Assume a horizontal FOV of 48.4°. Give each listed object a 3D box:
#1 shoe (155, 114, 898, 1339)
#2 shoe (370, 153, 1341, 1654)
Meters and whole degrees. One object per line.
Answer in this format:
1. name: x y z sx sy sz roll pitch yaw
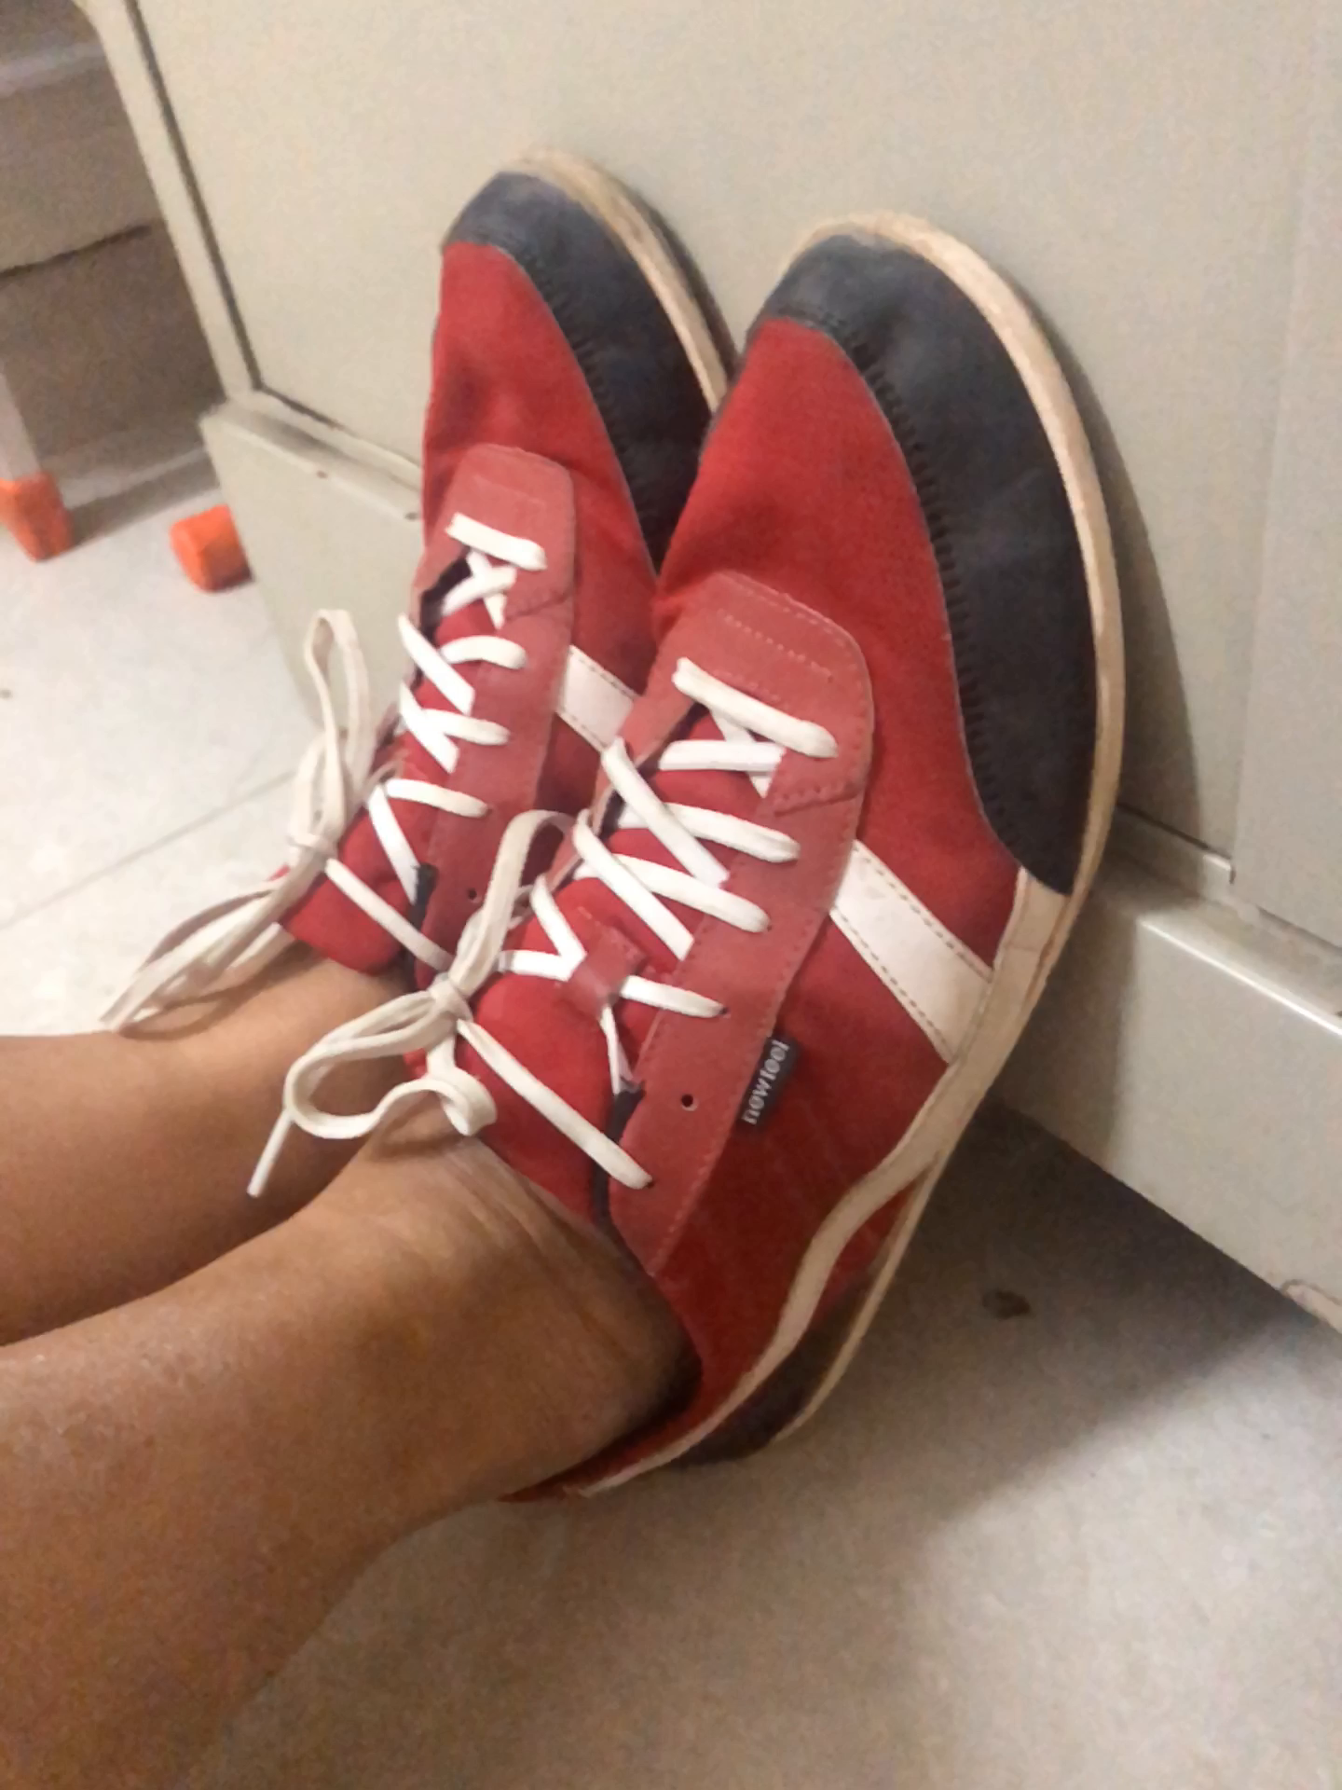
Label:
1. shoe: -0.037 -0.038 0.335 0.100 0.229 0.080 20 15 32
2. shoe: 0.028 0.003 0.296 0.080 0.249 0.101 0 25 -45
